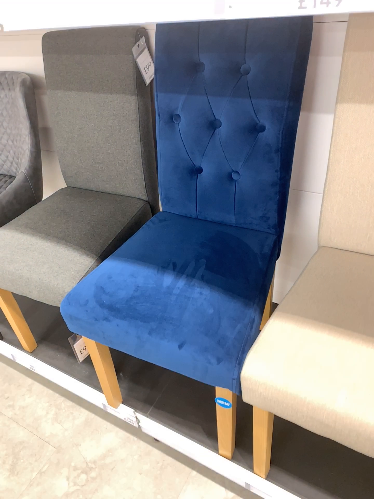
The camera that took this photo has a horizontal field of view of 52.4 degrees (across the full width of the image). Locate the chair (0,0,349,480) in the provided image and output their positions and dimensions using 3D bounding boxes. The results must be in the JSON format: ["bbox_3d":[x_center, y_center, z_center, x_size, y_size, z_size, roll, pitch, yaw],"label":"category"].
[{"bbox_3d":[0.032,0.002,0.908,0.434,0.929,0.522,14,43,25],"label":"chair"}]

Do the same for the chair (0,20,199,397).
[{"bbox_3d":[-0.310,-0.129,1.168,0.414,0.890,0.623,12,41,22],"label":"chair"}]
